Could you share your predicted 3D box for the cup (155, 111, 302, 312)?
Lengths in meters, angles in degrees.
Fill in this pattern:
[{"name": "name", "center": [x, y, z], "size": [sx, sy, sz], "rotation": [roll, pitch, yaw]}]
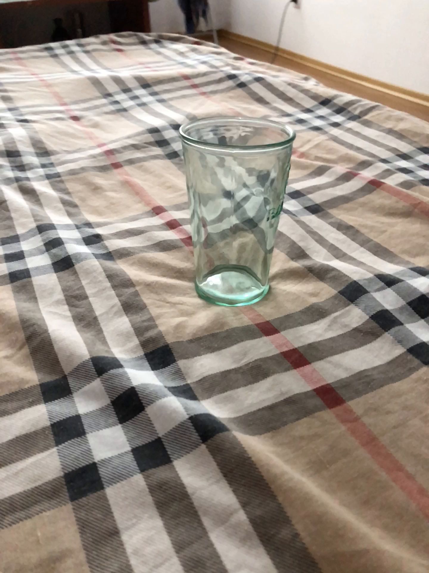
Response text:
[{"name": "cup", "center": [0.015, -0.056, 0.336], "size": [0.082, 0.112, 0.086], "rotation": [-2, 34, 1]}]
